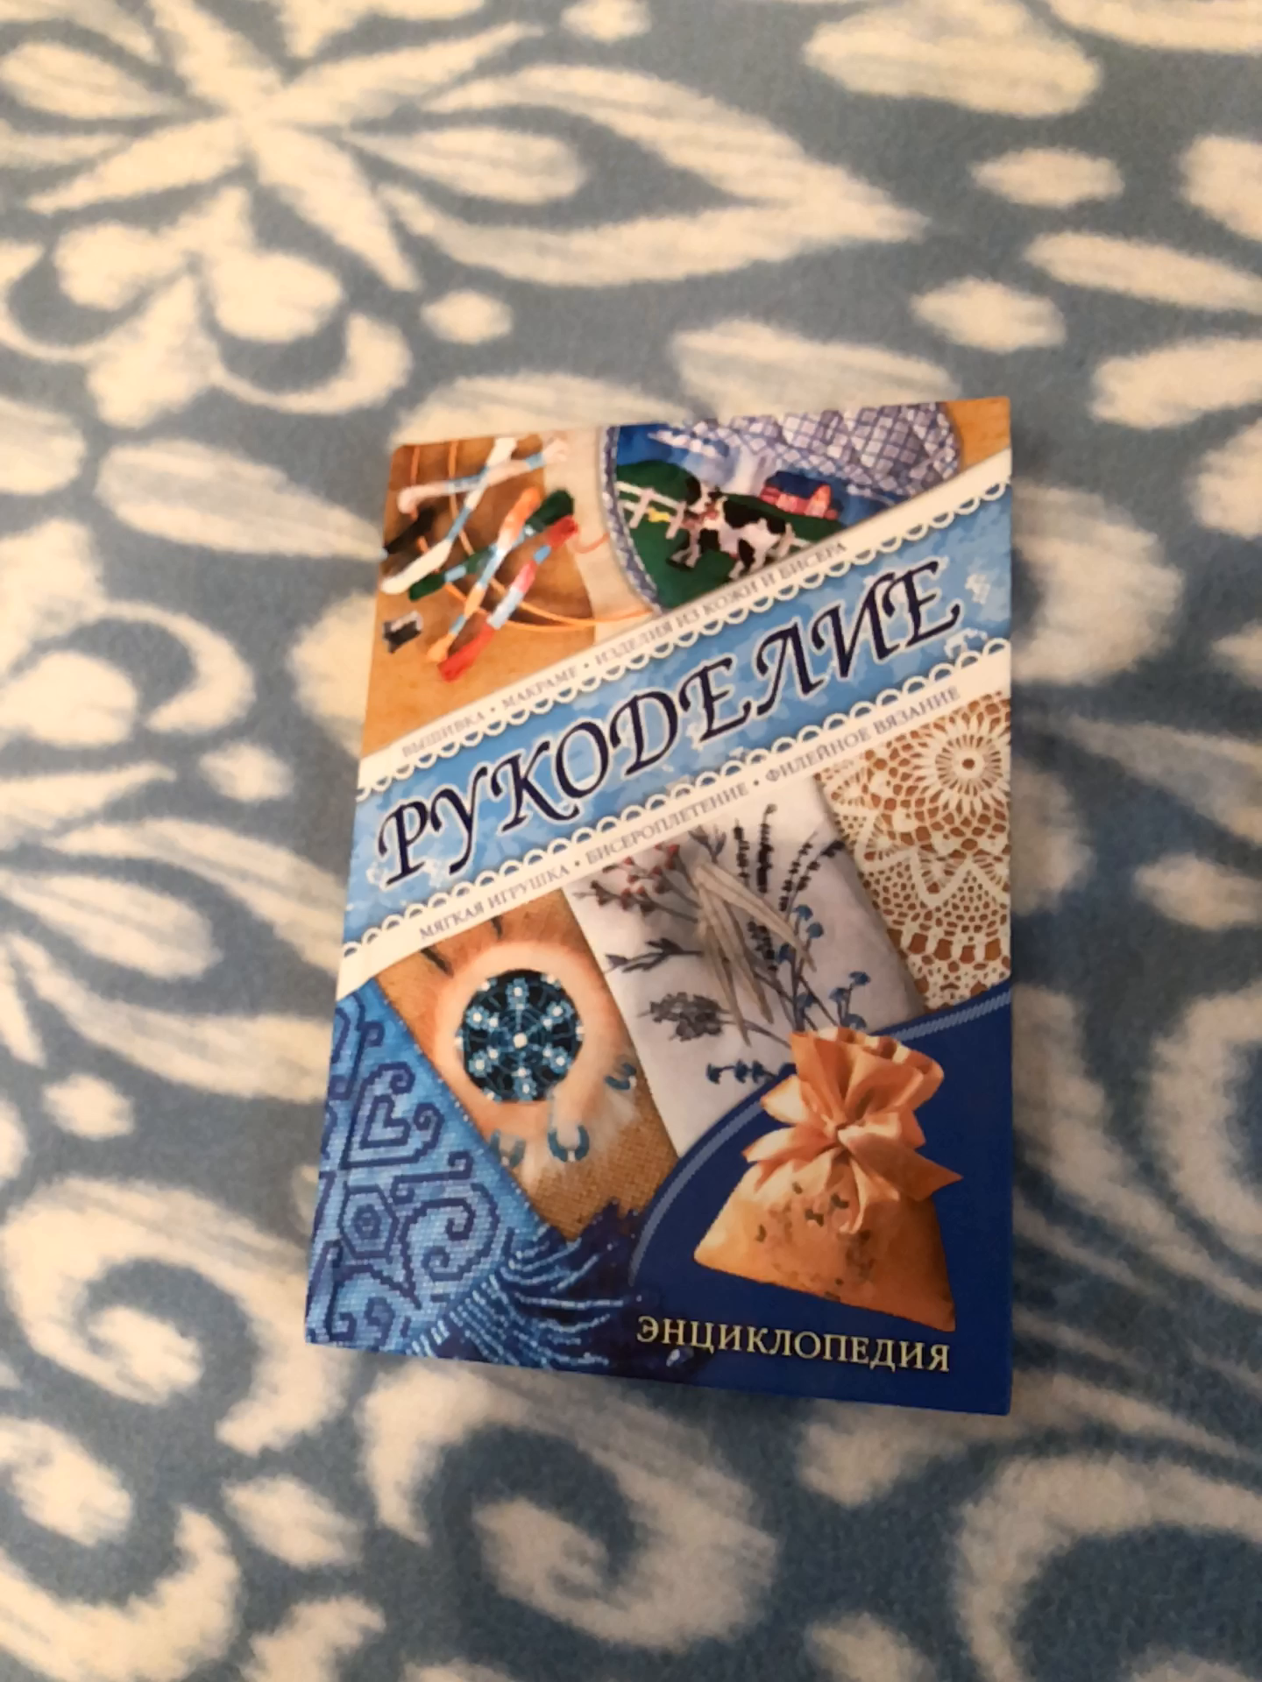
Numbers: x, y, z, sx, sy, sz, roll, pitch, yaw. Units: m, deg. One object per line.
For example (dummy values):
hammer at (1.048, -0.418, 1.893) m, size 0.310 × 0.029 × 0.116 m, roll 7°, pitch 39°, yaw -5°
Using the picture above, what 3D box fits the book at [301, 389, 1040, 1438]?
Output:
book at (0.012, 0.009, 0.346) m, size 0.168 × 0.020 × 0.237 m, roll 0°, pitch 77°, yaw 15°
